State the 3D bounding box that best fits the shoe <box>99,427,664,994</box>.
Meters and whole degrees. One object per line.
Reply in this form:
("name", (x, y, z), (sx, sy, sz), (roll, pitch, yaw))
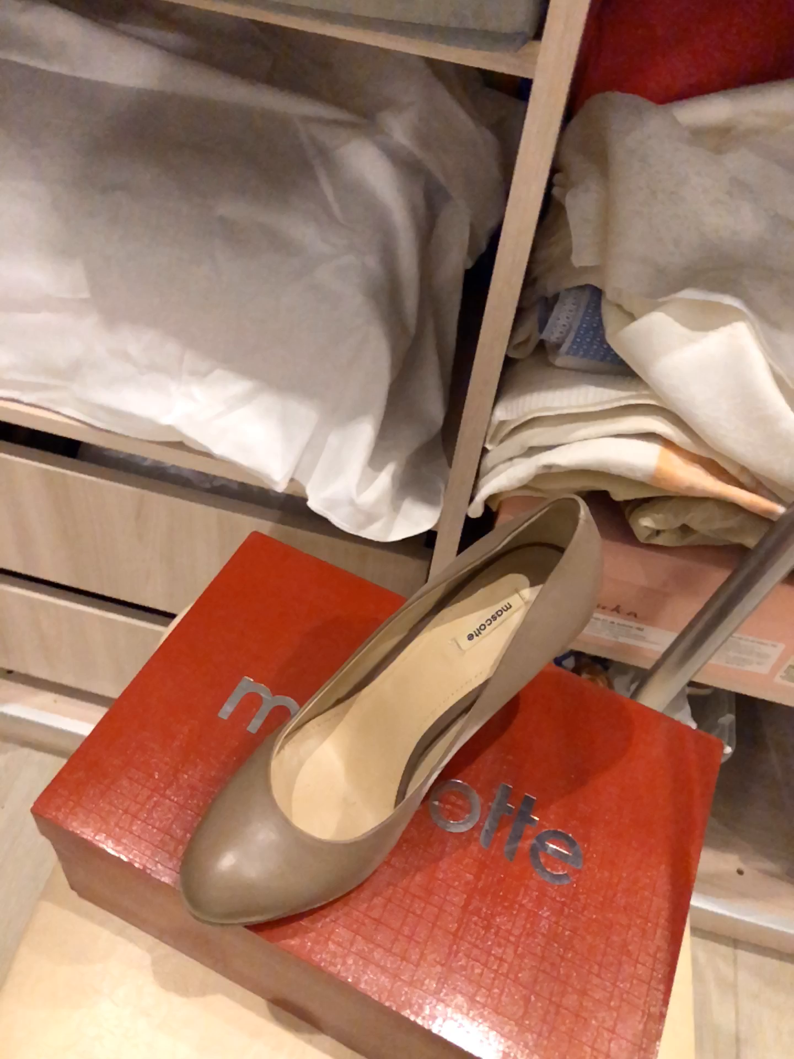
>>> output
("shoe", (-0.002, 0.073, 0.386), (0.215, 0.145, 0.084), (-31, 59, -31))
